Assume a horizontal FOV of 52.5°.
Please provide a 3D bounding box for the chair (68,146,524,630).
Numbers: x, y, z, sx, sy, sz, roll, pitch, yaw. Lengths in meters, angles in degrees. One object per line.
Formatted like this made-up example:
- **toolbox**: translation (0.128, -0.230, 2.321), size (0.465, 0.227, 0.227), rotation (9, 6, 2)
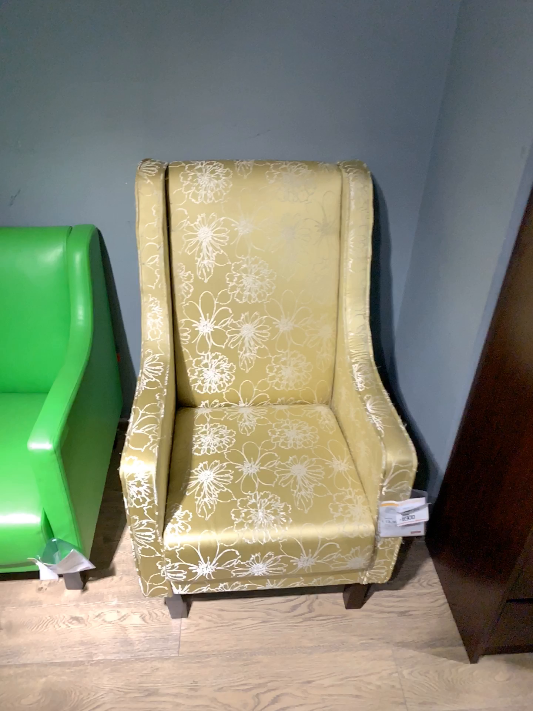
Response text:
- **chair**: translation (0.009, 0.038, 1.594), size (0.780, 1.025, 0.955), rotation (-1, 34, -5)
